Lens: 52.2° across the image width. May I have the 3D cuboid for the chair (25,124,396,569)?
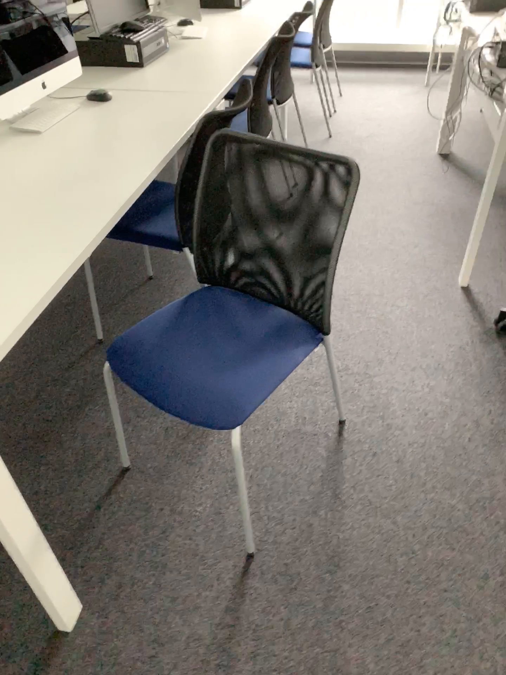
[{"bbox_3d":[-0.060,0.015,1.398,0.541,0.895,0.602,24,46,27],"label":"chair"}]
